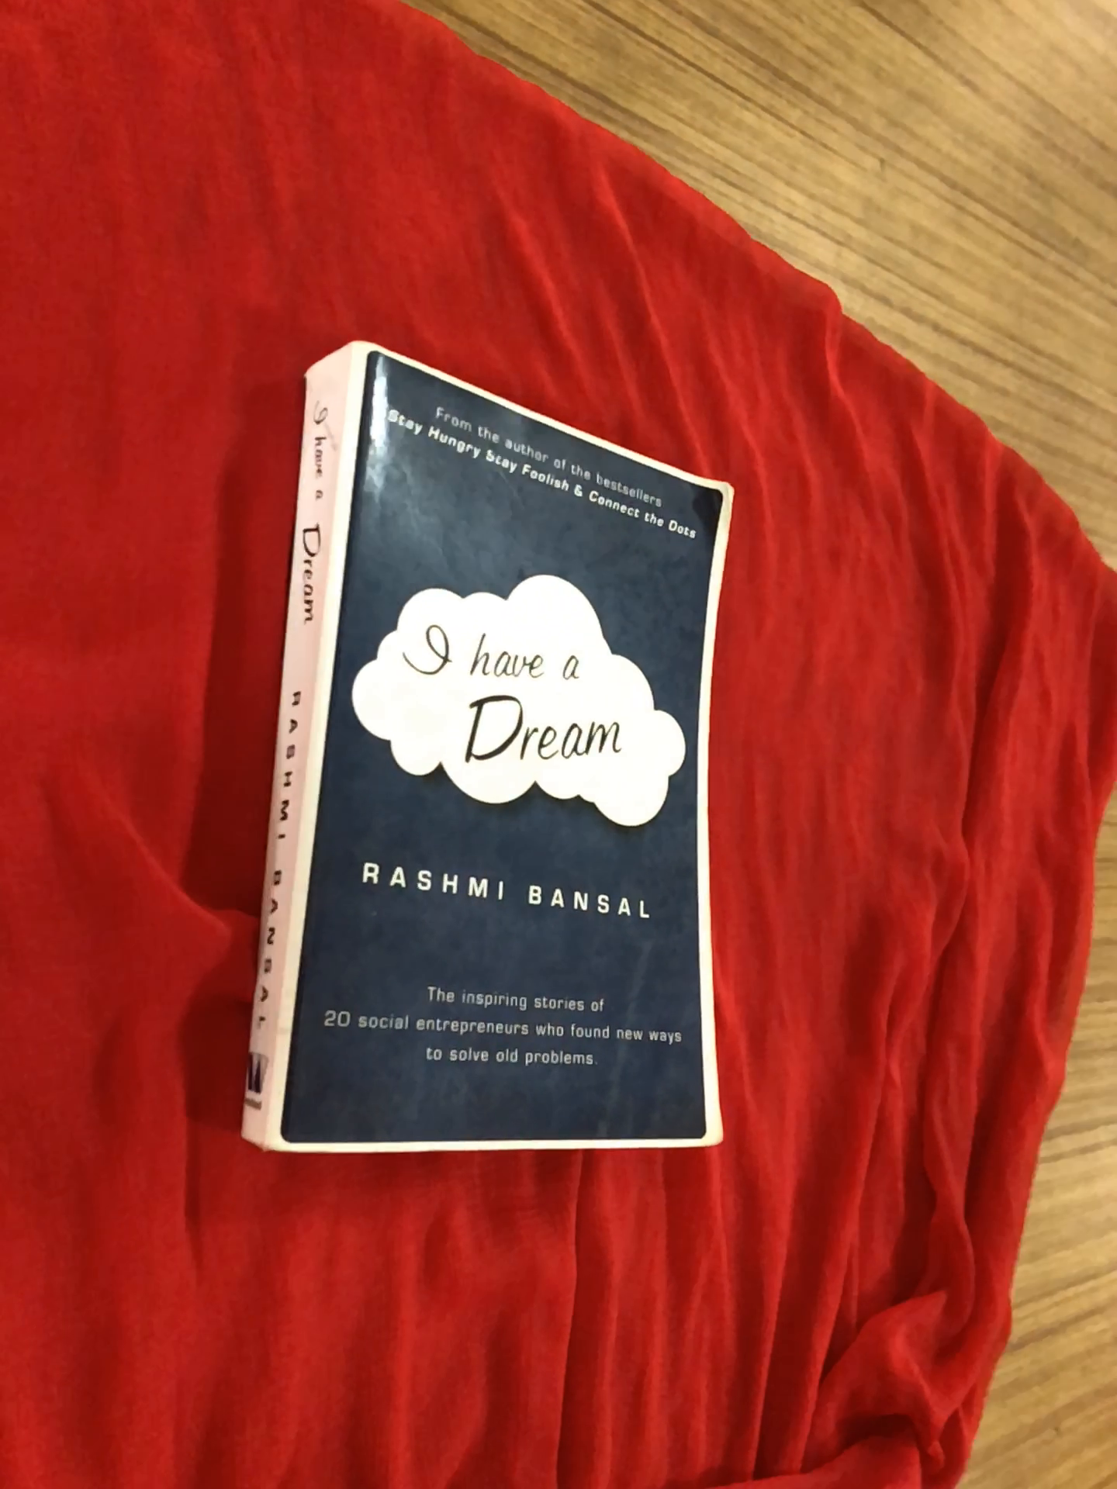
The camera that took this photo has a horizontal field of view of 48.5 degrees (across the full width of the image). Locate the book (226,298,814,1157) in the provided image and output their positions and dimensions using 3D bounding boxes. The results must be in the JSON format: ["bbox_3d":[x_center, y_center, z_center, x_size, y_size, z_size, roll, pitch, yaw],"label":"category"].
[{"bbox_3d":[0.000,0.004,0.322,0.140,0.040,0.190,12,76,-34],"label":"book"}]
